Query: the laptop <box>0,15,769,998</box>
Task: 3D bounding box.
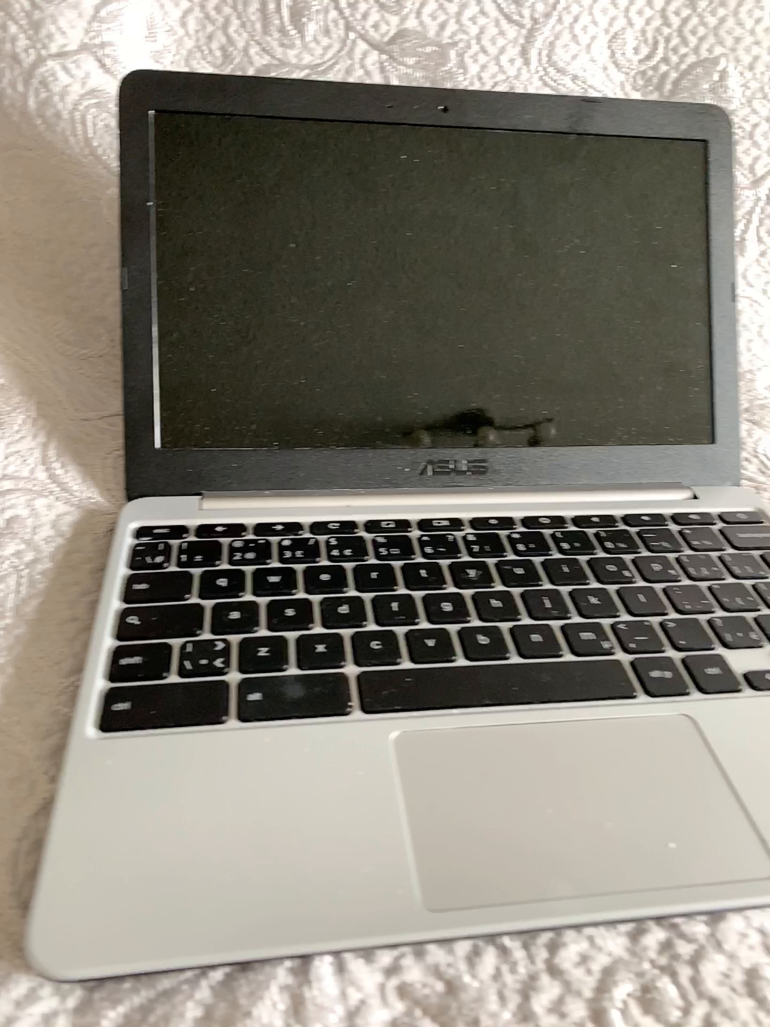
[{"bbox_3d":[0.037,-0.044,0.278,0.288,0.127,0.288,-1,41,-16],"label":"laptop"}]
